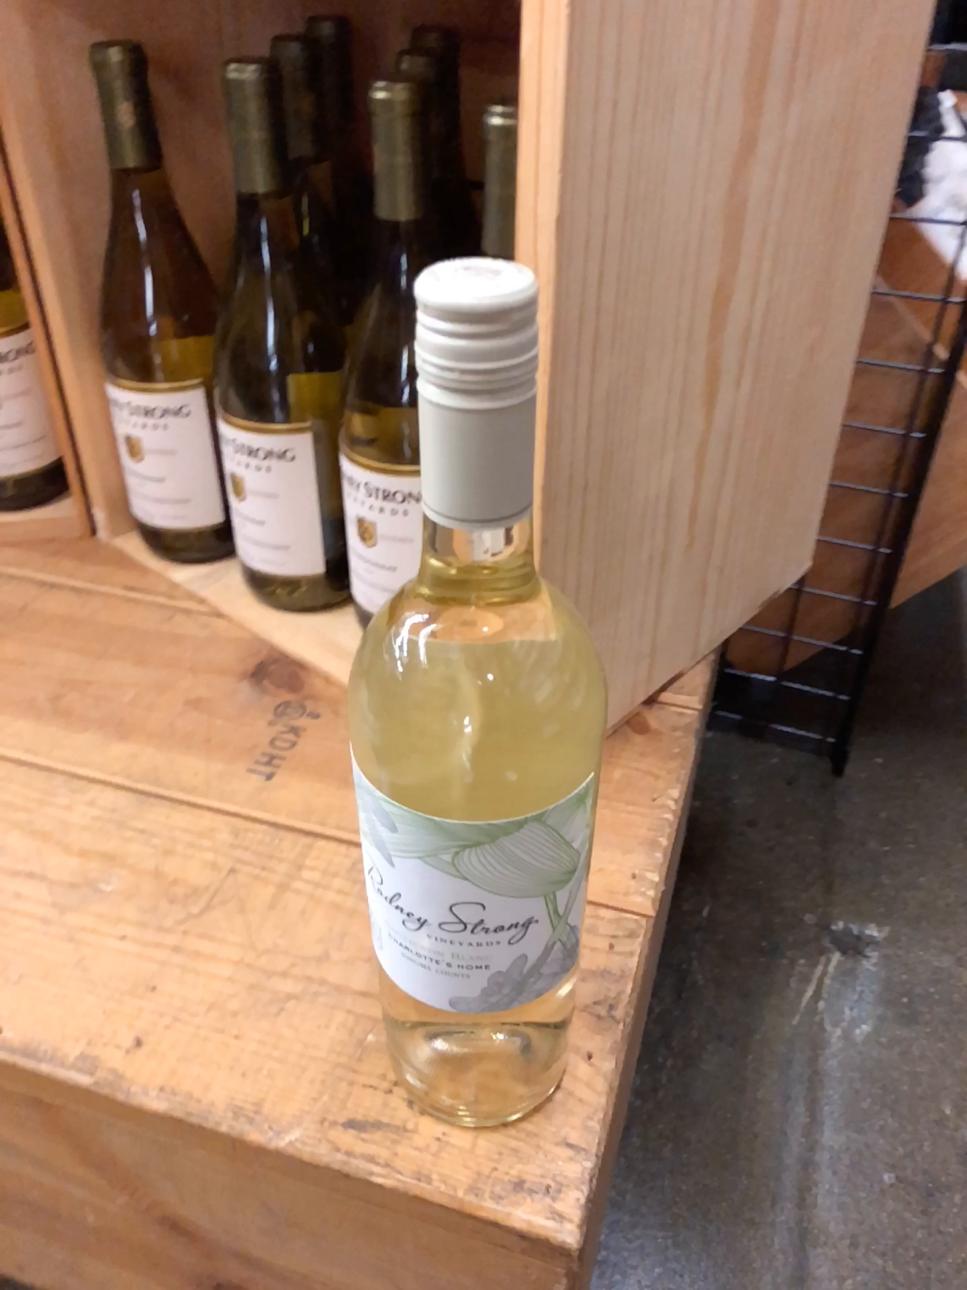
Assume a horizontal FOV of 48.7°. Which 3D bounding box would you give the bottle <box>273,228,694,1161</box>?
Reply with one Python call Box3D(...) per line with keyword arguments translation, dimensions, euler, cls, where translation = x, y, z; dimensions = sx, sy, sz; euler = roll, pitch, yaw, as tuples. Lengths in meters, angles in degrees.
Box3D(translation=(0.002, 0.034, 0.325), dimensions=(0.073, 0.283, 0.079), euler=(1, 36, 0), cls="bottle")
